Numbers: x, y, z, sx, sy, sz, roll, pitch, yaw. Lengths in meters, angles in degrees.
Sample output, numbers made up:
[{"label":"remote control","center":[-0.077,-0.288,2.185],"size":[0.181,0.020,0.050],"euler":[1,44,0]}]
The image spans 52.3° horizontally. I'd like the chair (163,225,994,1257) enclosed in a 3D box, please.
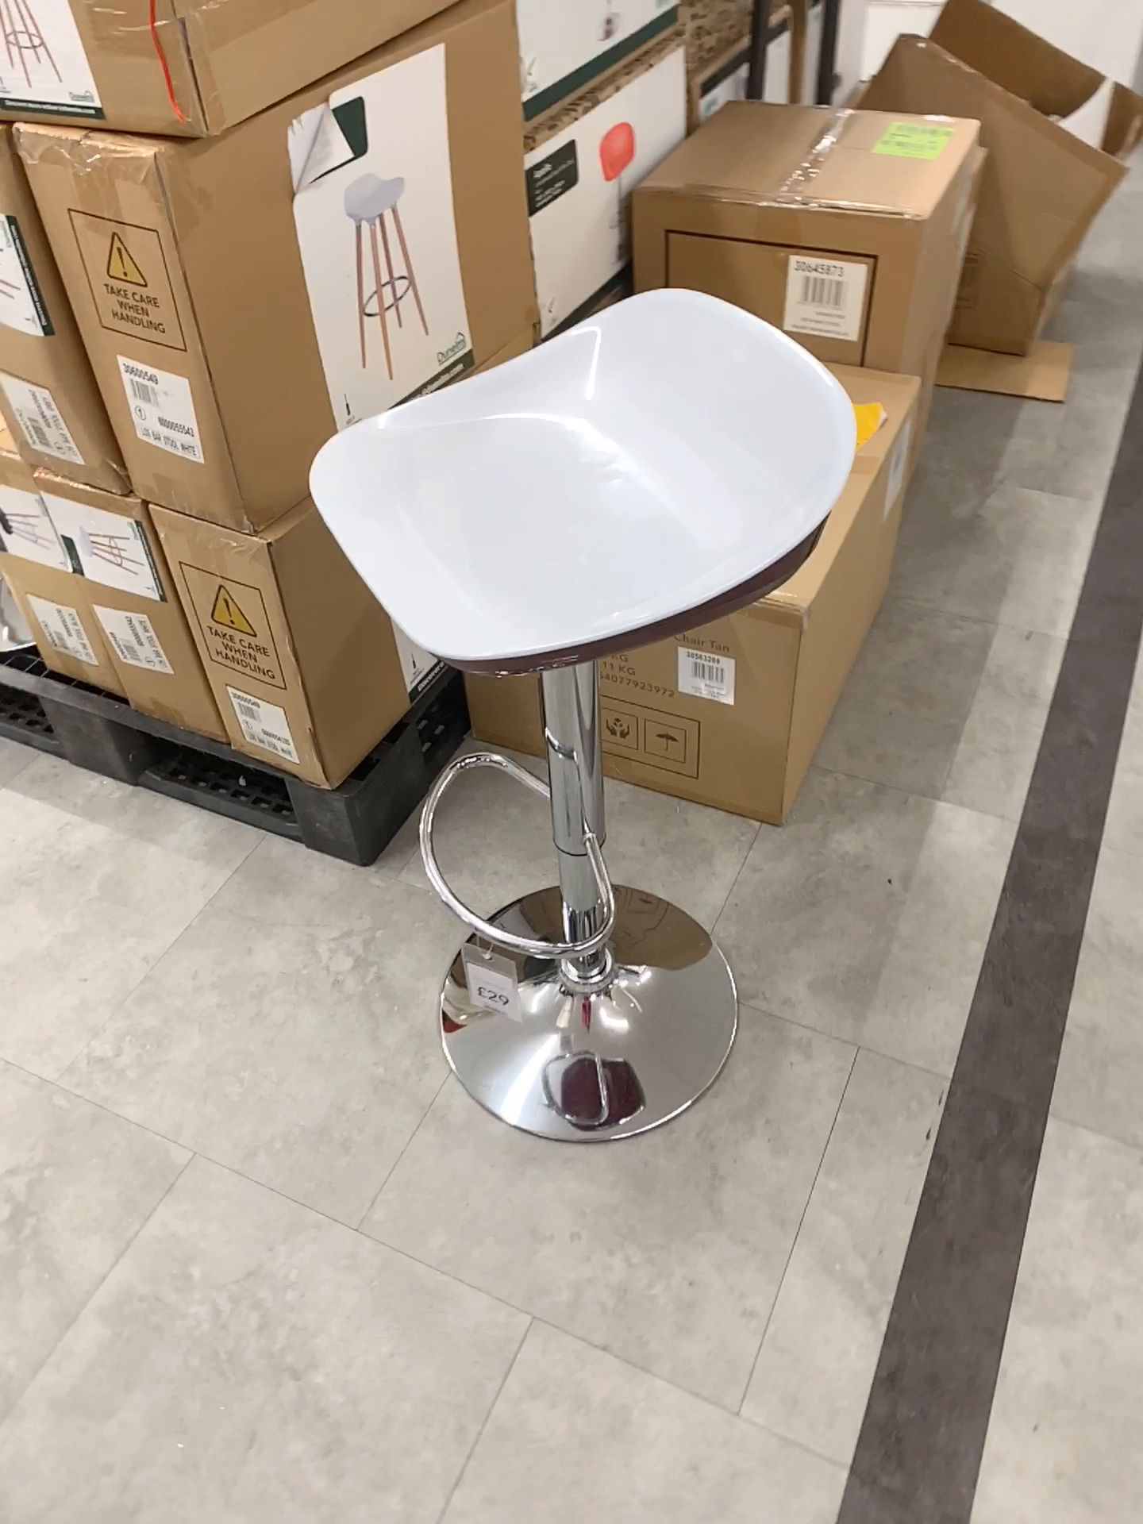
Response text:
[{"label":"chair","center":[0.002,0.007,1.138],"size":[0.453,0.797,0.446],"euler":[-24,48,-19]}]
